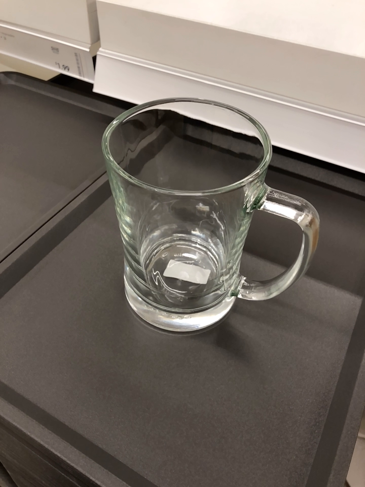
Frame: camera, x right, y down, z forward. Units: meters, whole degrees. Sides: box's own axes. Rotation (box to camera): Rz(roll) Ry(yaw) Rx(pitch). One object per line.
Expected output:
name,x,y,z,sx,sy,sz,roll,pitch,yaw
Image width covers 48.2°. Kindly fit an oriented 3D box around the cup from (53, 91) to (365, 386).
cup,0.020,-0.007,0.291,0.160,0.130,0.110,18,48,15
